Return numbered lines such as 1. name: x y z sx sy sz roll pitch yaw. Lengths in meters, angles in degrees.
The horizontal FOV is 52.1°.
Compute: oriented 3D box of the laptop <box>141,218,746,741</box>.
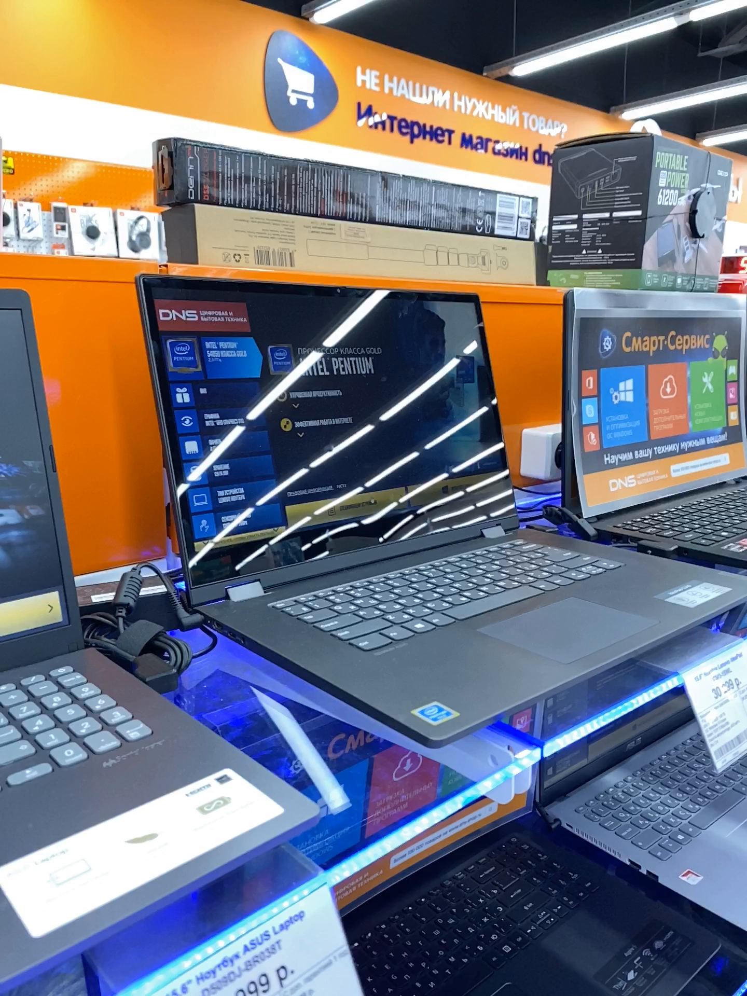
1. laptop: 0.071 -0.046 0.572 0.362 0.232 0.318 -9 14 -41
